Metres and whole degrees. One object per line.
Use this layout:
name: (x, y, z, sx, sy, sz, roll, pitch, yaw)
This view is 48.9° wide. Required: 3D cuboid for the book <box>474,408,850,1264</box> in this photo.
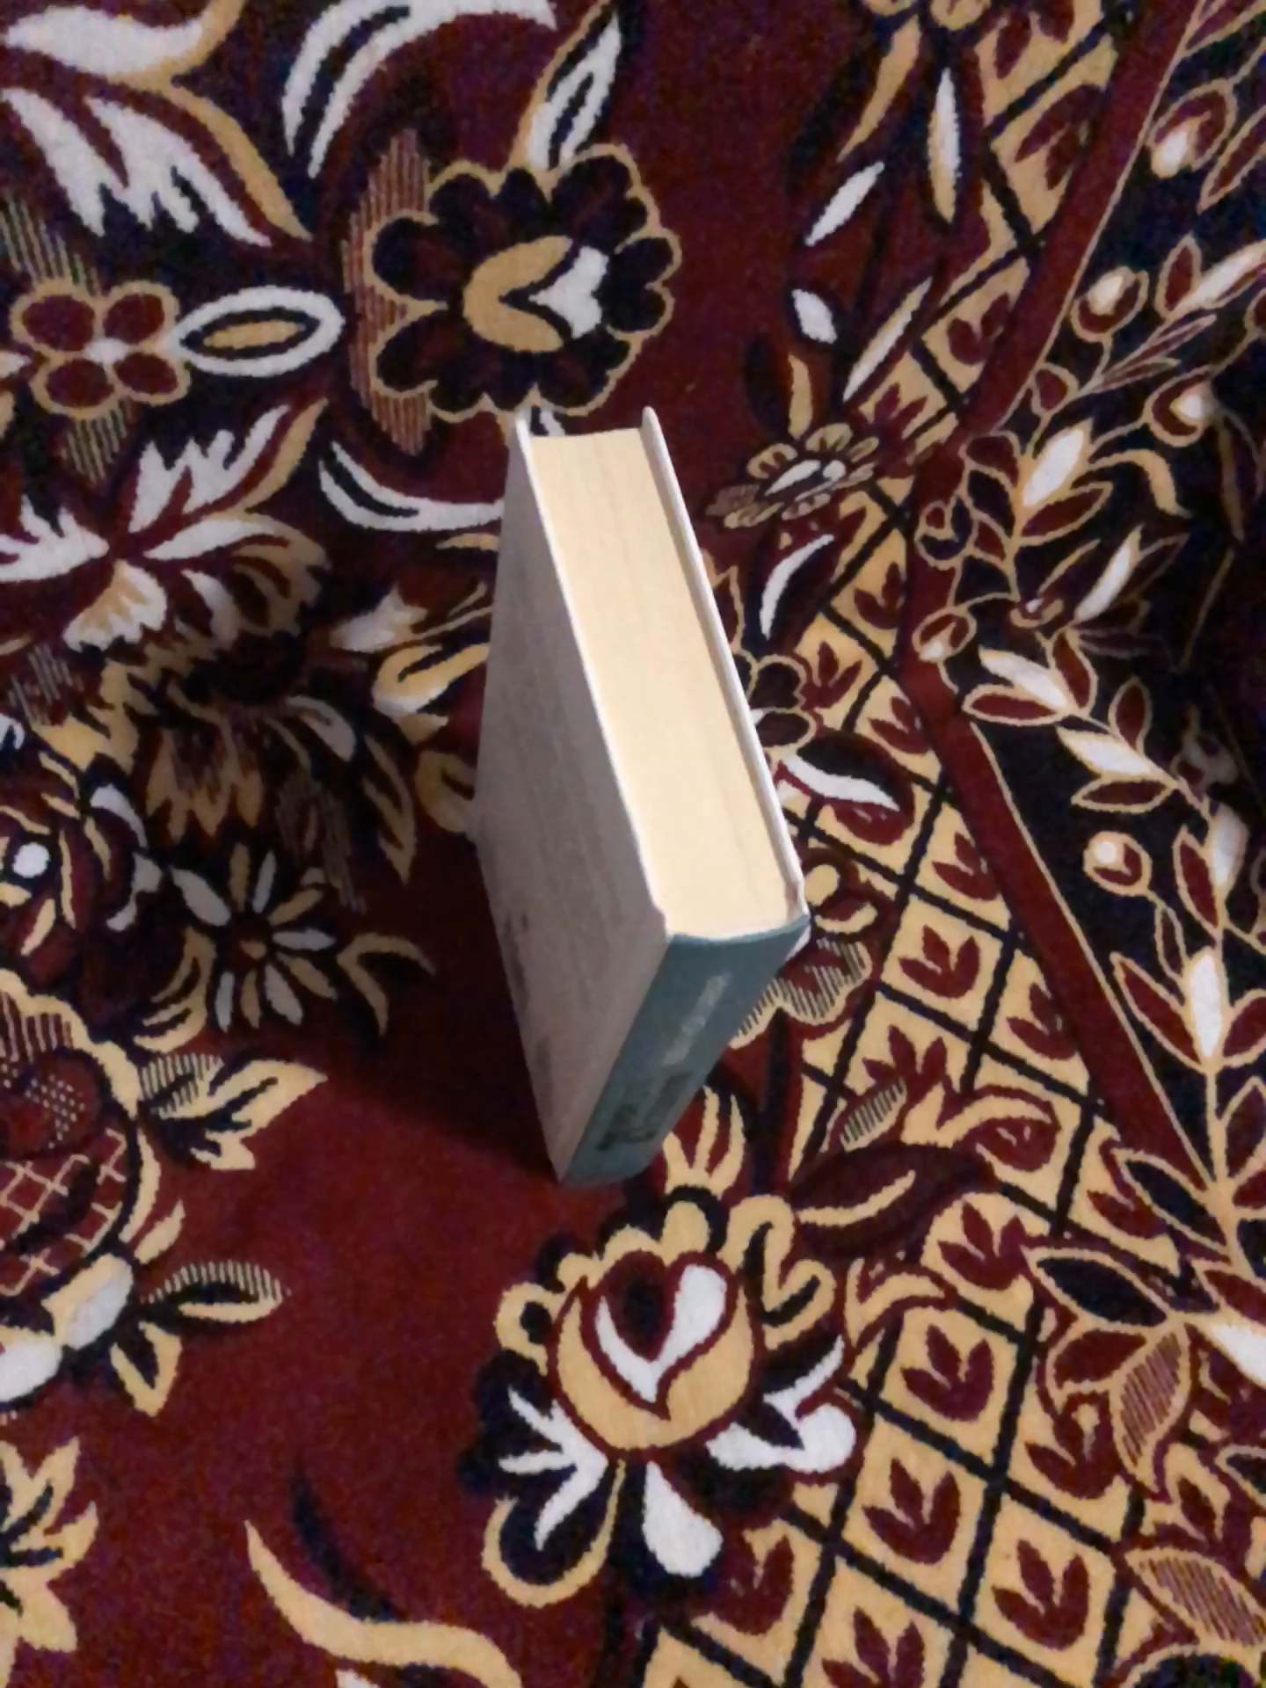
book: (-0.008, 0.014, 0.390, 0.040, 0.212, 0.153, -8, 63, -13)
